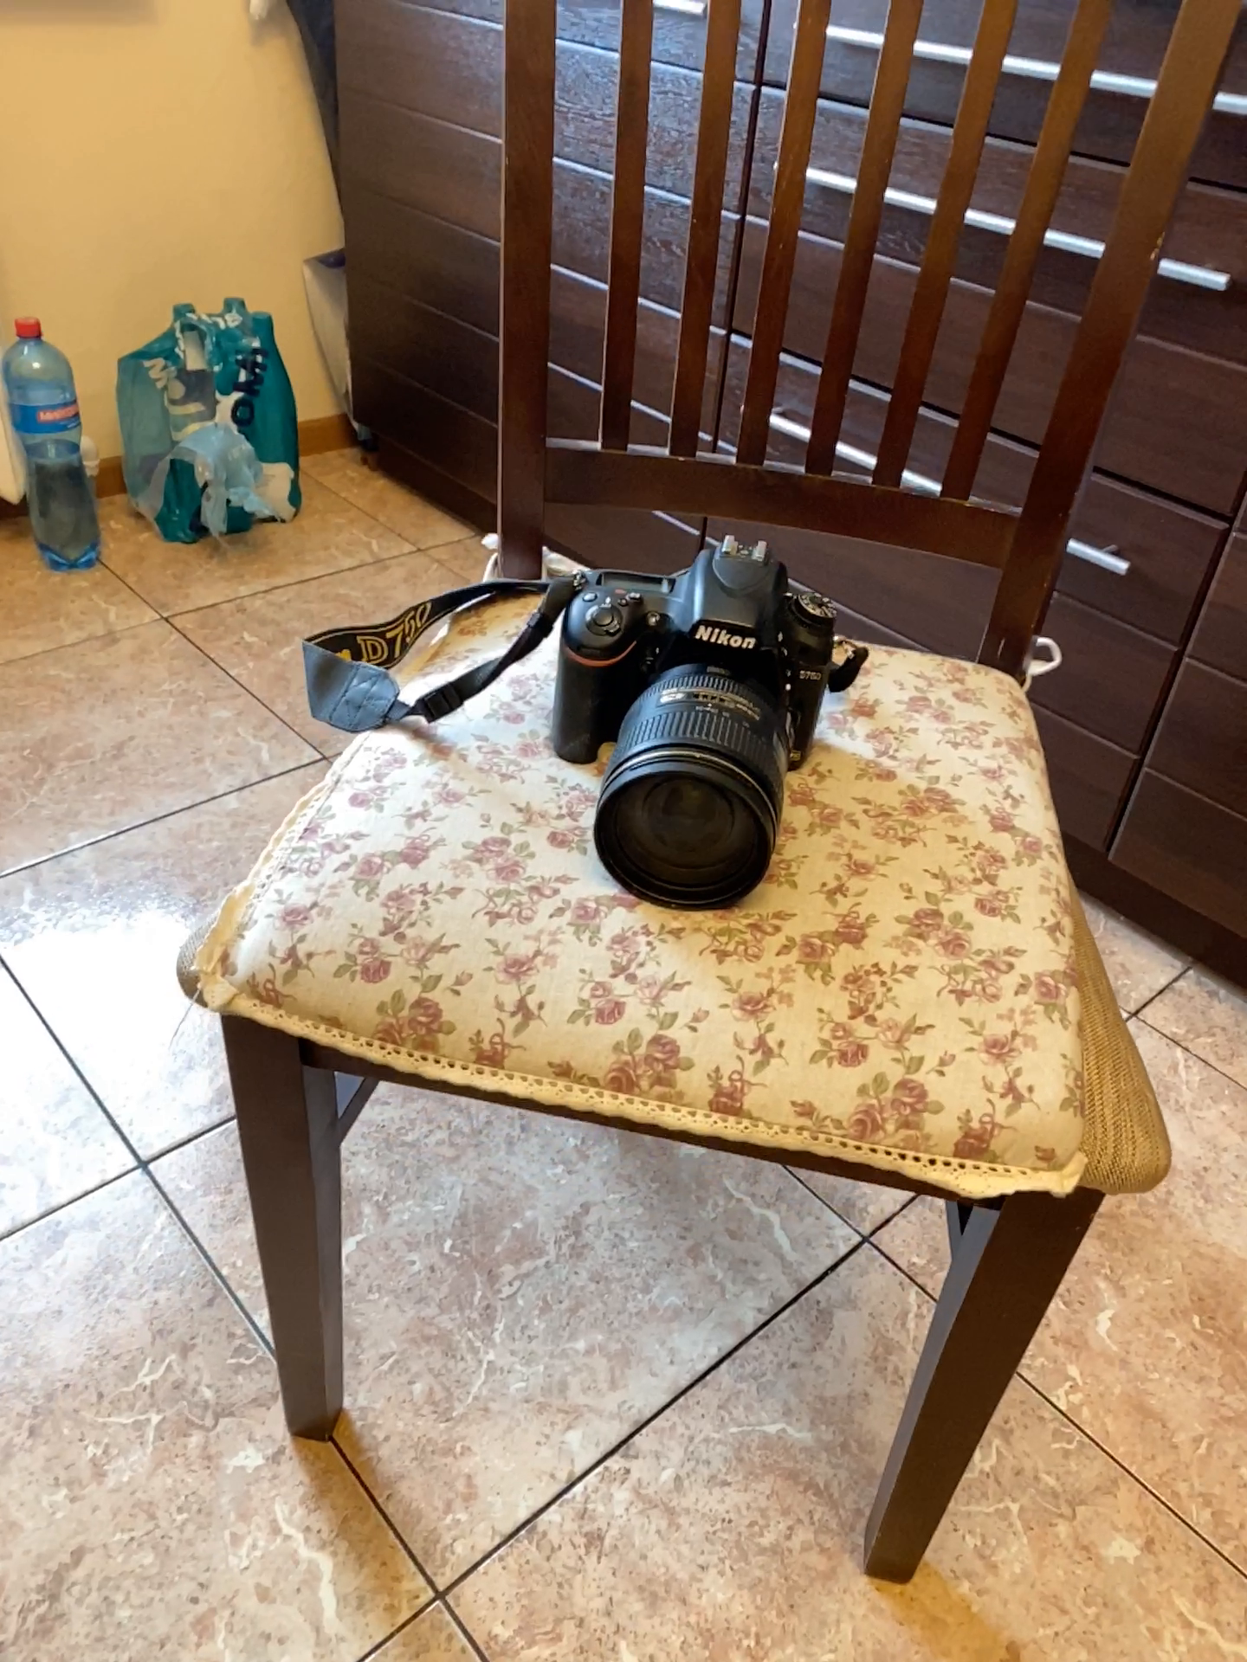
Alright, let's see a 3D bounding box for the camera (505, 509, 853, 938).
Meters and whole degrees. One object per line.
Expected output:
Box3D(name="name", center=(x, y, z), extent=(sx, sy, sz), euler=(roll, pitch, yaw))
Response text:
Box3D(name="camera", center=(0.030, -0.058, 0.606), extent=(0.135, 0.119, 0.165), euler=(9, 36, 5))
